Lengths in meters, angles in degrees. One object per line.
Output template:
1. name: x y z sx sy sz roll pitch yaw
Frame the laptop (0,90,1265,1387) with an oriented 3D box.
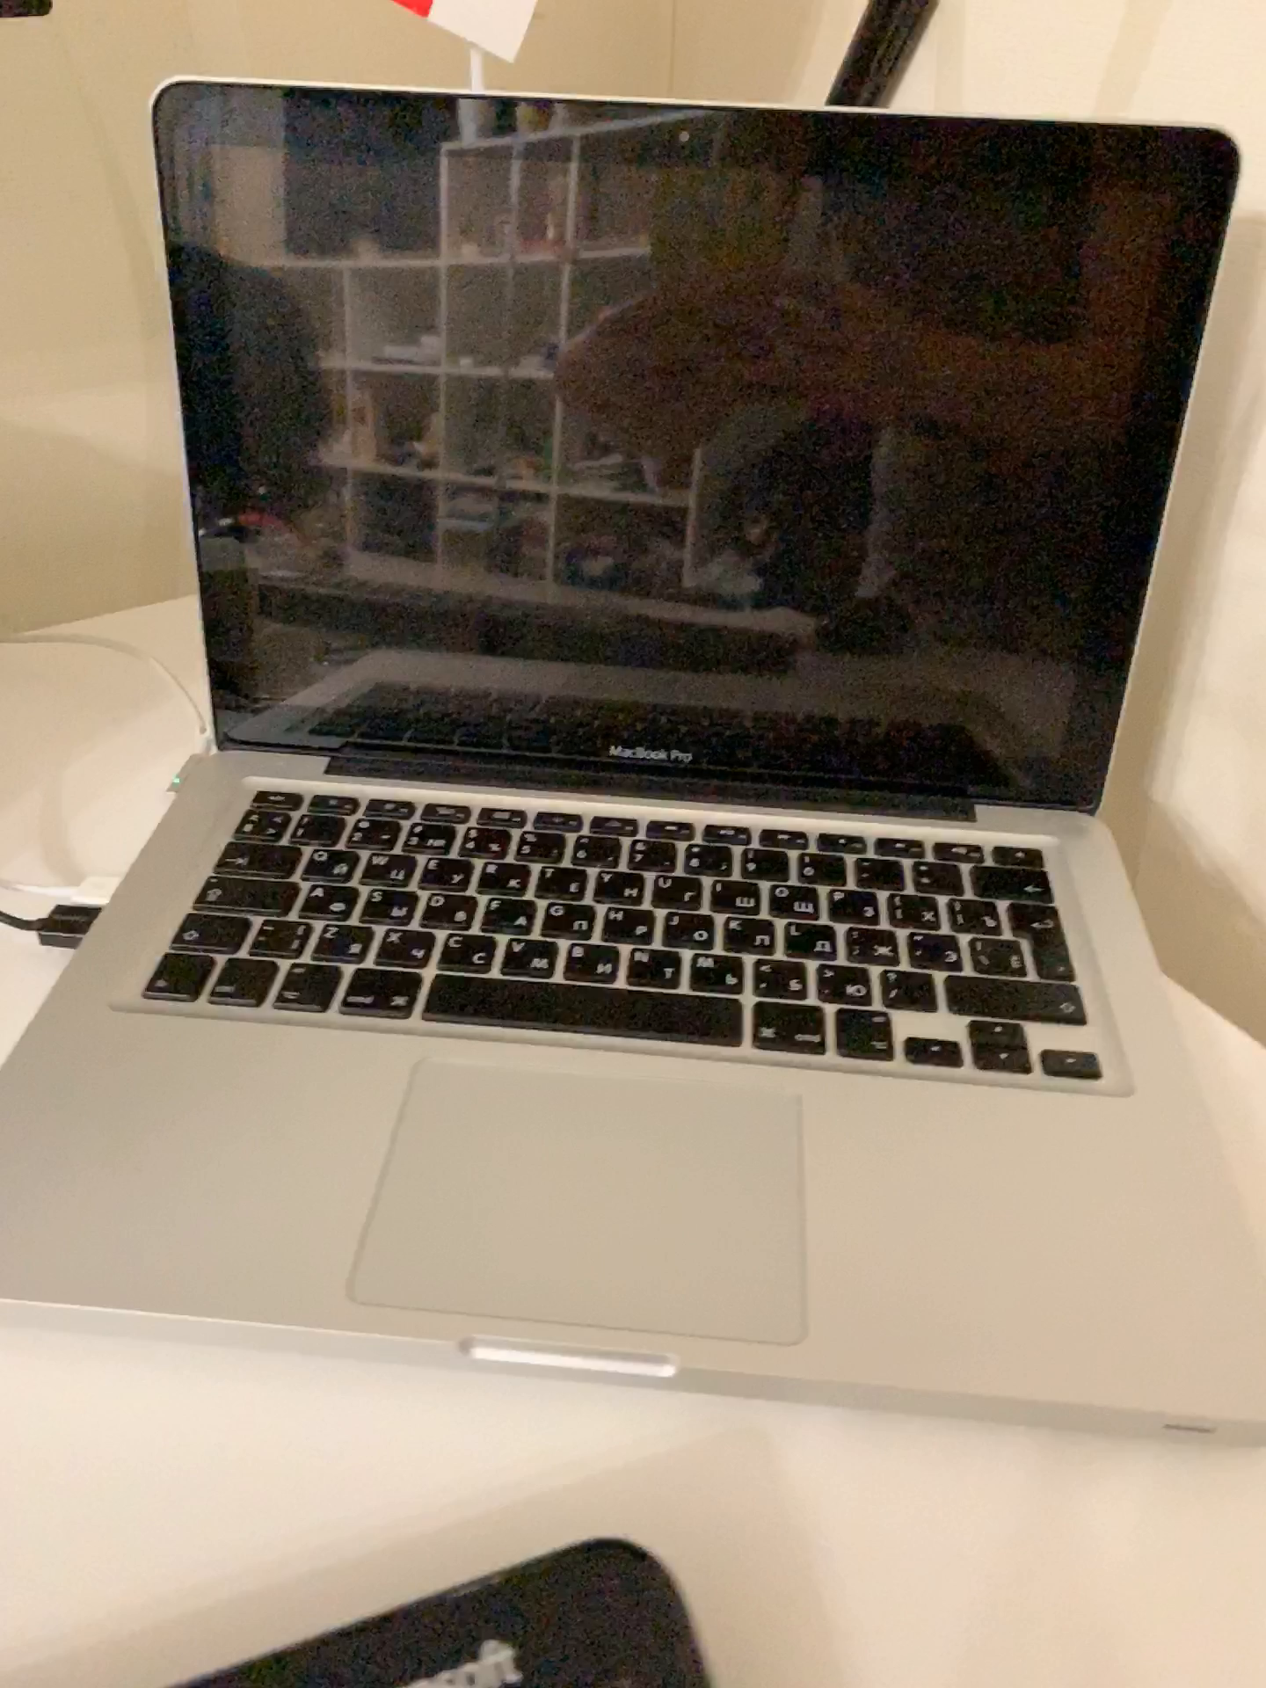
1. laptop: 0.006 -0.052 0.324 0.300 0.196 0.251 4 36 3
